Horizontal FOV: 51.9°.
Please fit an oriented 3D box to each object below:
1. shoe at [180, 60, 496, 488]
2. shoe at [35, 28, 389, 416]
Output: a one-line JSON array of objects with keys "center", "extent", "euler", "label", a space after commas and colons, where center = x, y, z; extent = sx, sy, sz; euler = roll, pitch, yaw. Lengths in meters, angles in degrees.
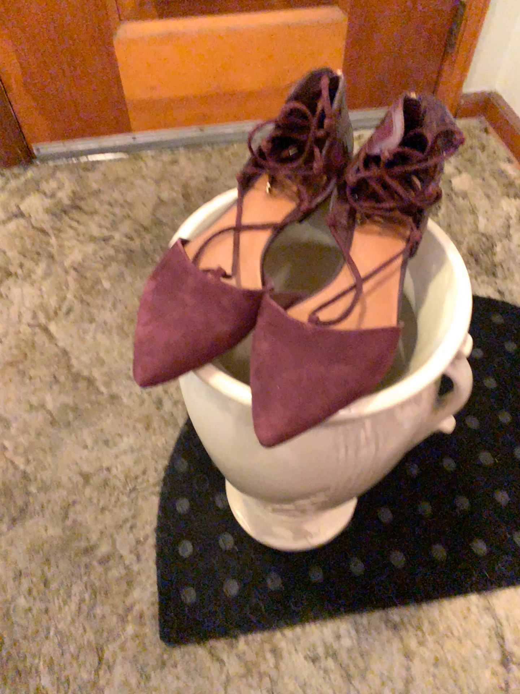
[{"center": [0.061, -0.063, 0.338], "extent": [0.092, 0.099, 0.262], "euler": [20, 57, 15], "label": "shoe"}, {"center": [-0.010, -0.099, 0.361], "extent": [0.092, 0.099, 0.262], "euler": [23, 57, 16], "label": "shoe"}]
